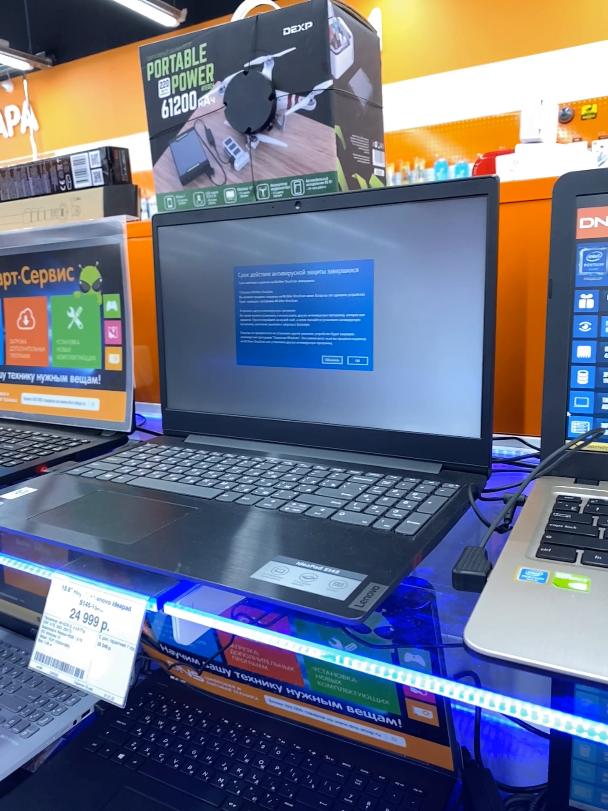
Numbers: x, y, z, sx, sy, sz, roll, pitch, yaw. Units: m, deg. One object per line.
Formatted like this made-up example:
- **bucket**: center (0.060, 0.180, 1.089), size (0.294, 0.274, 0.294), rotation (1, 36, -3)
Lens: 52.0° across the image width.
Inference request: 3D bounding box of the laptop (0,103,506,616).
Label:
- **laptop**: center (-0.059, -0.048, 0.498), size (0.362, 0.240, 0.273), rotation (4, 12, 31)
